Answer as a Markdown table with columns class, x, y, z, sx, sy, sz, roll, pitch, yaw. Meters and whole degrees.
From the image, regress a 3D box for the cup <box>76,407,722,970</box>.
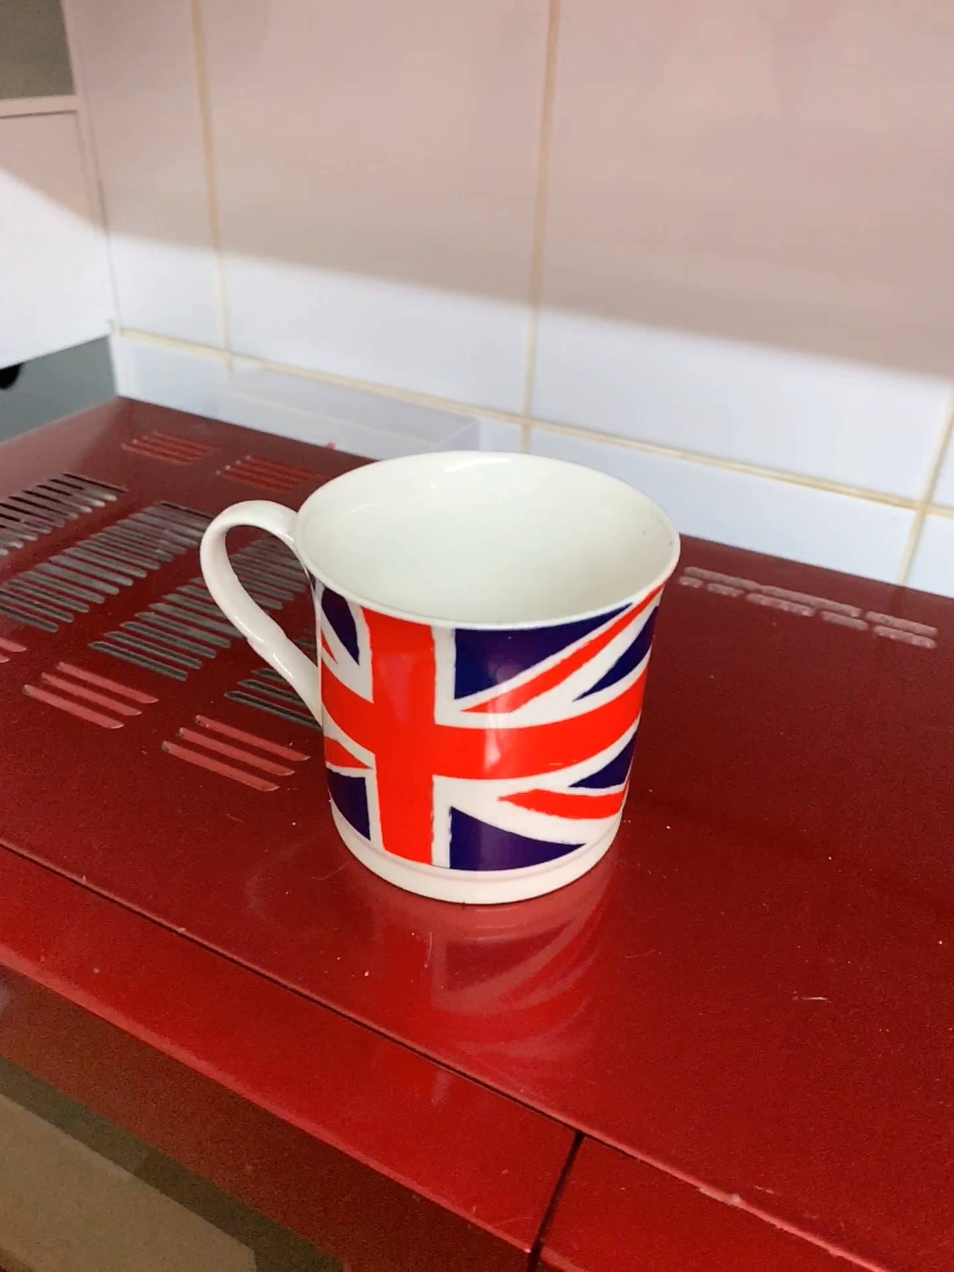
| class | x | y | z | sx | sy | sz | roll | pitch | yaw |
| --- | --- | --- | --- | --- | --- | --- | --- | --- | --- |
| cup | -0.014 | 0.005 | 0.239 | 0.120 | 0.079 | 0.081 | 13 | 33 | 16 |
